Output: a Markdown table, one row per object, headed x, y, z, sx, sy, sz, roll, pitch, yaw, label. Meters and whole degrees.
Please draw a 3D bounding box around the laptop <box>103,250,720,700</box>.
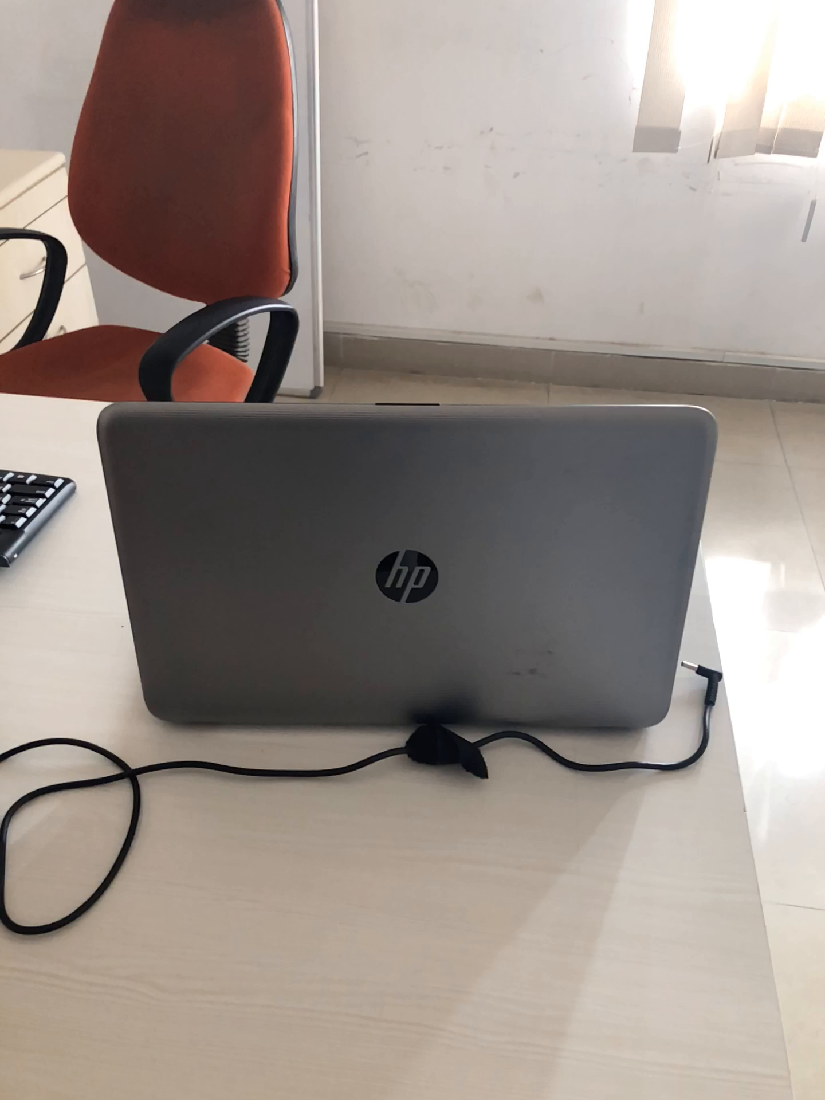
| x | y | z | sx | sy | sz | roll | pitch | yaw | label |
| --- | --- | --- | --- | --- | --- | --- | --- | --- | --- |
| -0.002 | -0.057 | 0.663 | 0.350 | 0.226 | 0.217 | 1 | 42 | 2 | laptop |
